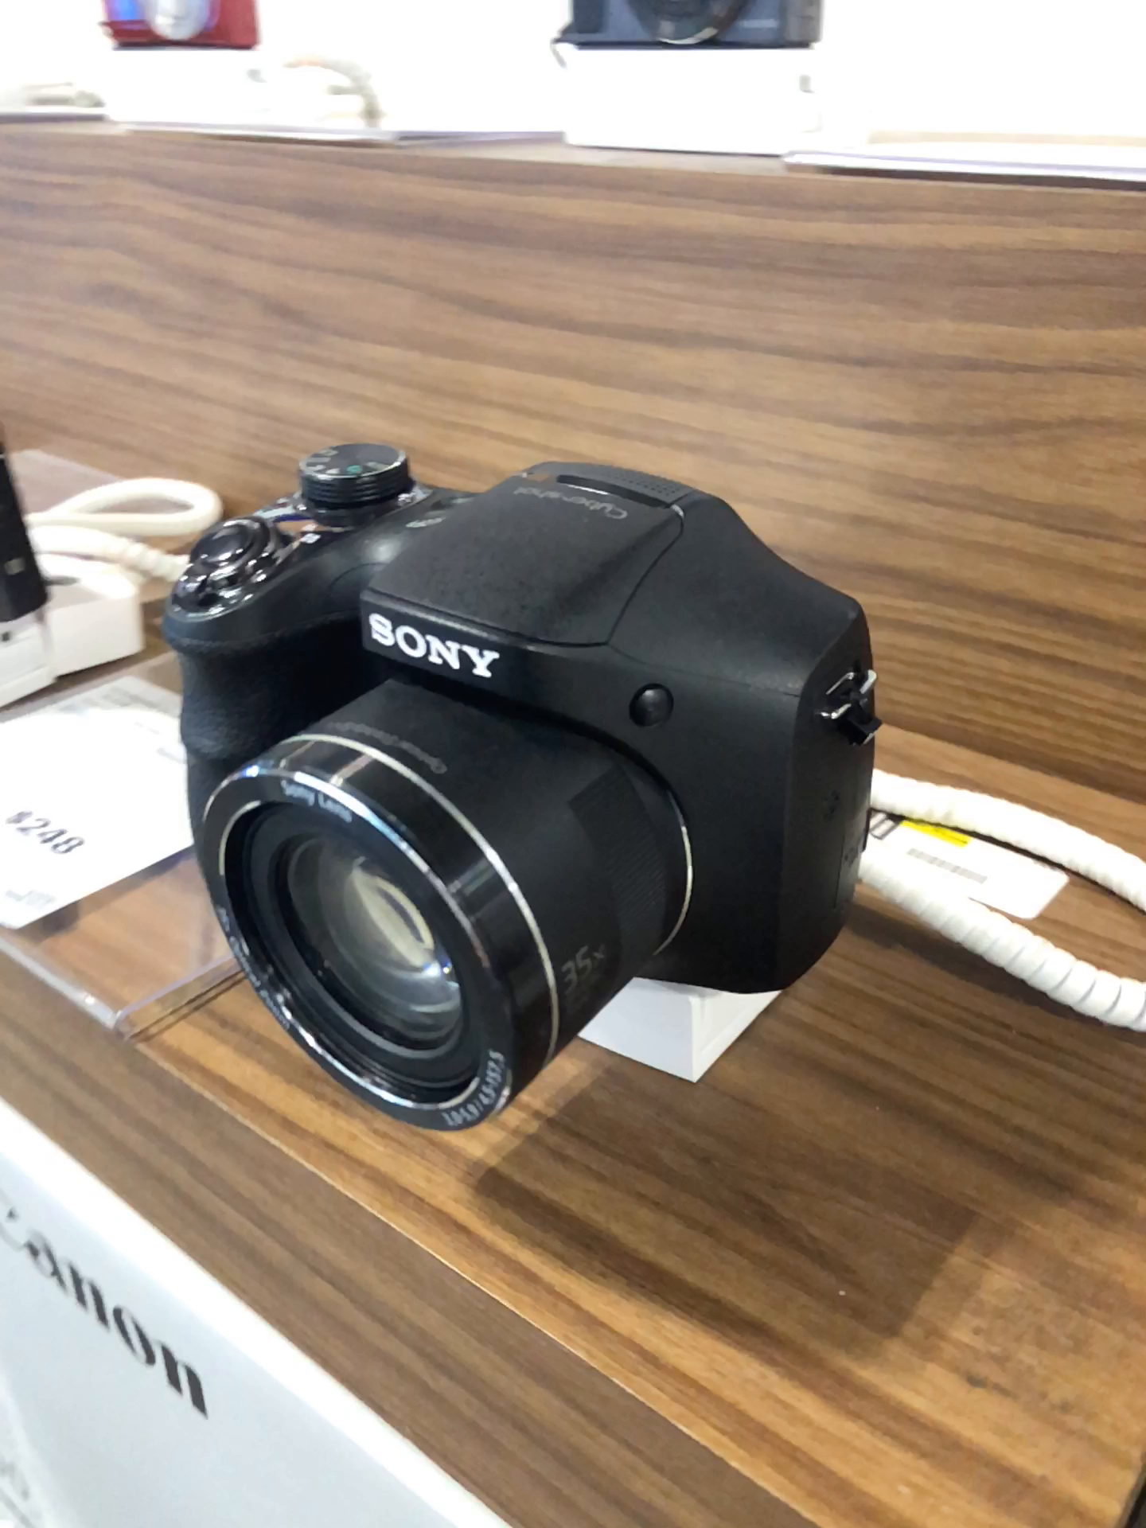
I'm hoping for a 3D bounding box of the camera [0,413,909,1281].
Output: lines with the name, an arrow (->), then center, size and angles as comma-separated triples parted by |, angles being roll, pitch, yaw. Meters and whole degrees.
camera -> -0.021, 0.000, 0.225 | 0.120, 0.092, 0.090 | 19, 32, 31
